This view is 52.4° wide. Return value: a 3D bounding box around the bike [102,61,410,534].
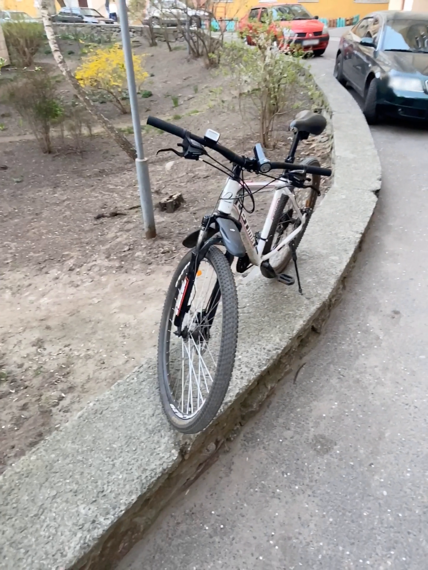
[{"bbox_3d":[0.352,-0.194,1.967,0.678,1.143,1.762,12,38,19],"label":"bike"}]
